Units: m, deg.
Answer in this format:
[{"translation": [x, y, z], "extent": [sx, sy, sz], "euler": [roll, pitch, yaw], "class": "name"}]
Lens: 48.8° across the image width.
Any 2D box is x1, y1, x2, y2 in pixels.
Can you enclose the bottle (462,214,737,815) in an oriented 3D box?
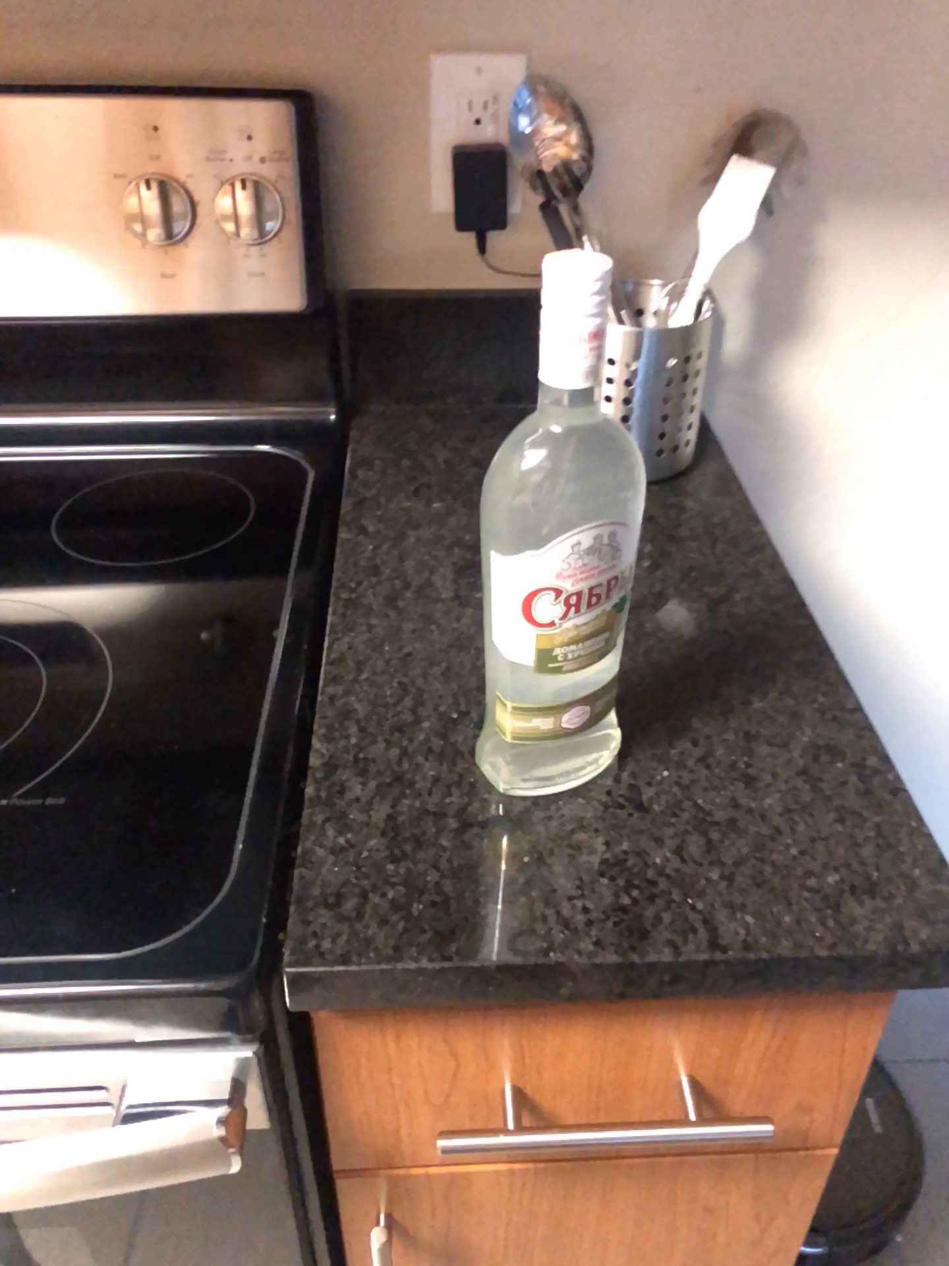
[{"translation": [0.047, -0.044, 0.489], "extent": [0.090, 0.269, 0.060], "euler": [-13, 37, -19], "class": "bottle"}]
